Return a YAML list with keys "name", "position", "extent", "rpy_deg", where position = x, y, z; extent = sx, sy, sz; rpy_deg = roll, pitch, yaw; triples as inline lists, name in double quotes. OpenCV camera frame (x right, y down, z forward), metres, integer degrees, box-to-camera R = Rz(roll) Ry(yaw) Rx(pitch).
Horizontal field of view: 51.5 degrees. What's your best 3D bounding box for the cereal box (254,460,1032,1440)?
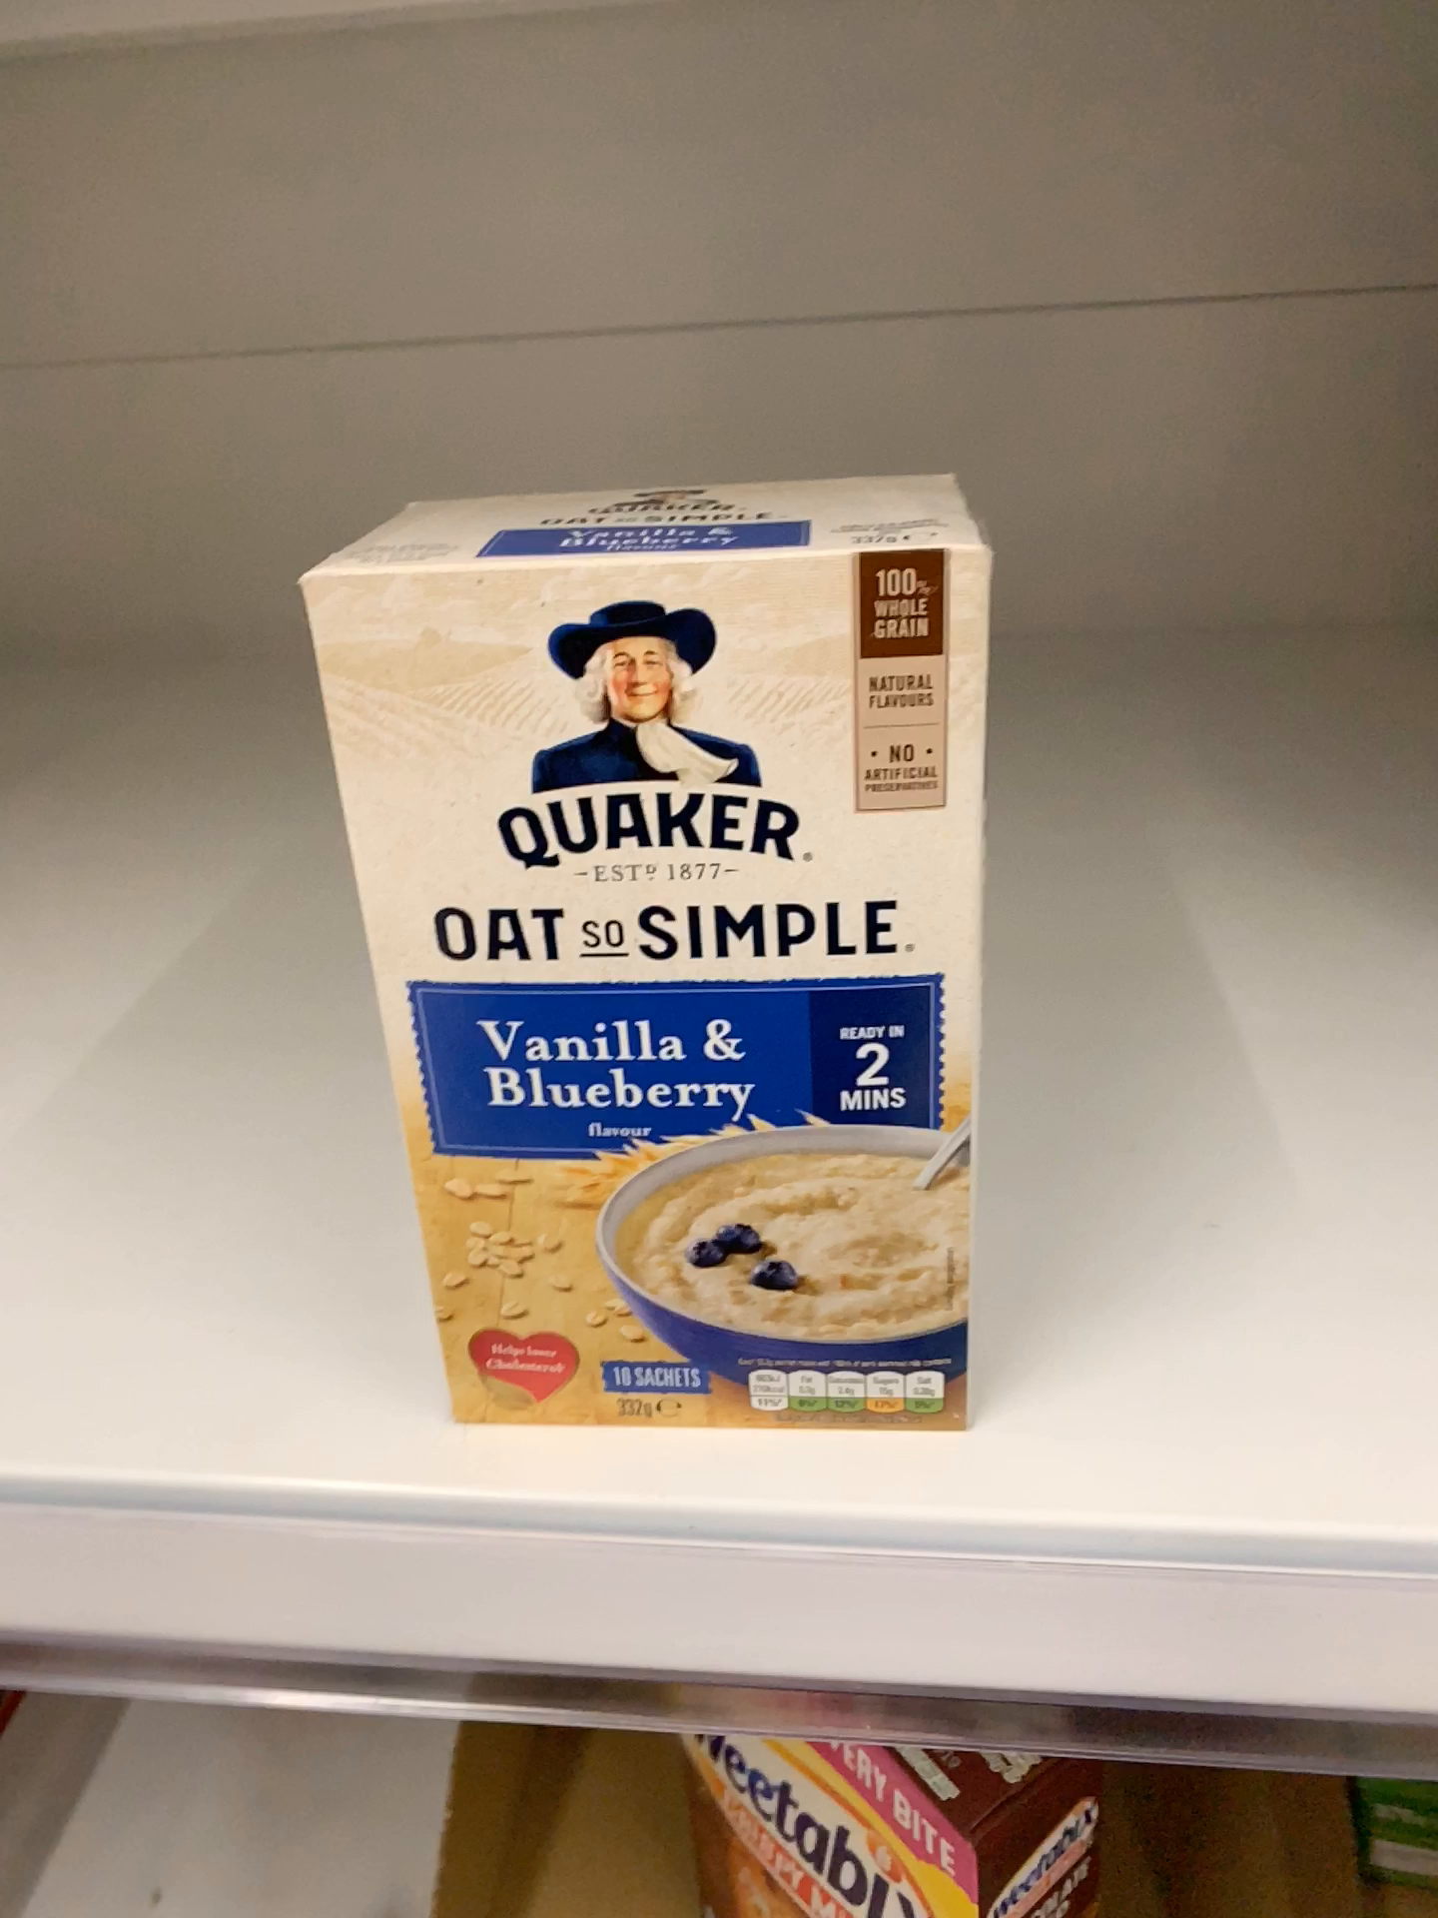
- name: "cereal box"
  position: [-0.006, 0.002, 0.347]
  extent: [0.140, 0.208, 0.081]
  rpy_deg: [-1, 26, 6]
